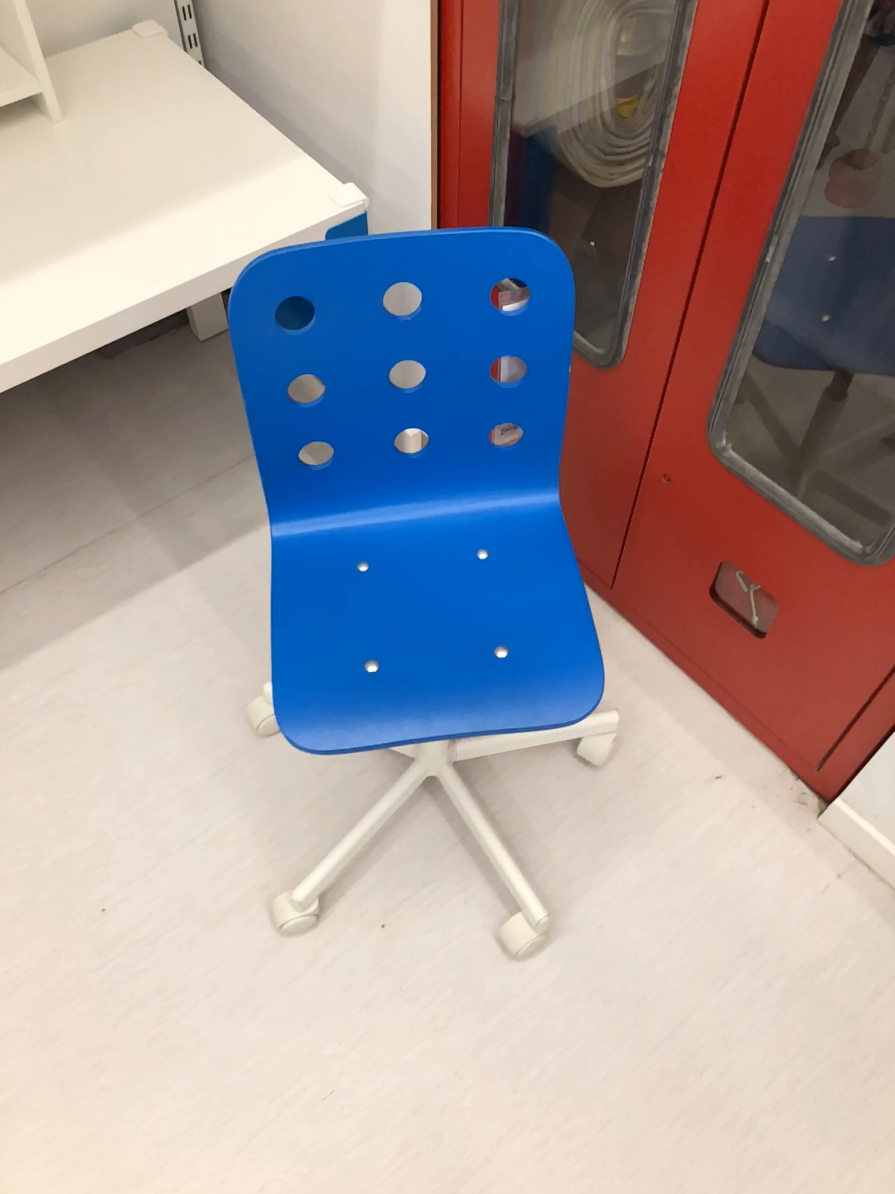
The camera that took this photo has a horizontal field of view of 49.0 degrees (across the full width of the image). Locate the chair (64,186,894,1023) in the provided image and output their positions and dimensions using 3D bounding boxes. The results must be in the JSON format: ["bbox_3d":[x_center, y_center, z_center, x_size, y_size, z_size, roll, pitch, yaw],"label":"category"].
[{"bbox_3d":[0.012,0.058,1.007,0.550,0.686,0.493,-7,56,-5],"label":"chair"}]
